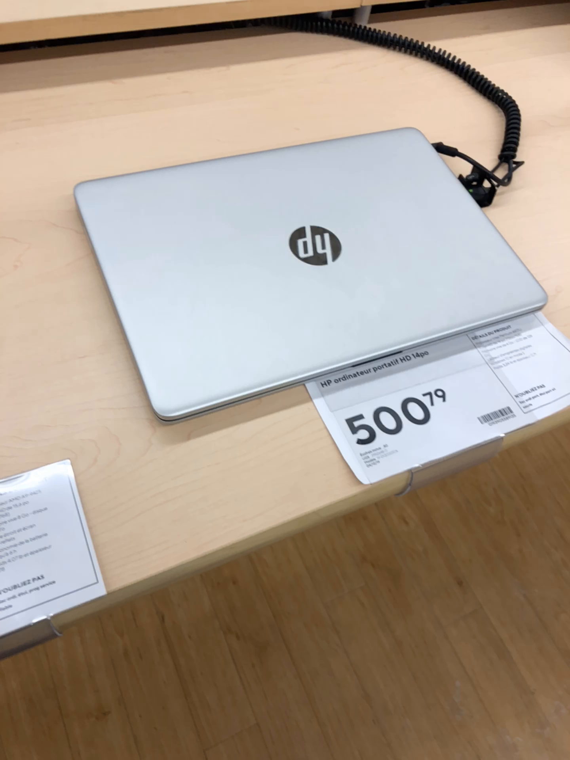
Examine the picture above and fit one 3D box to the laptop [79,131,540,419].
[{"bbox_3d":[0.023,-0.104,0.488,0.310,0.004,0.205,-17,63,-21],"label":"laptop"}]
